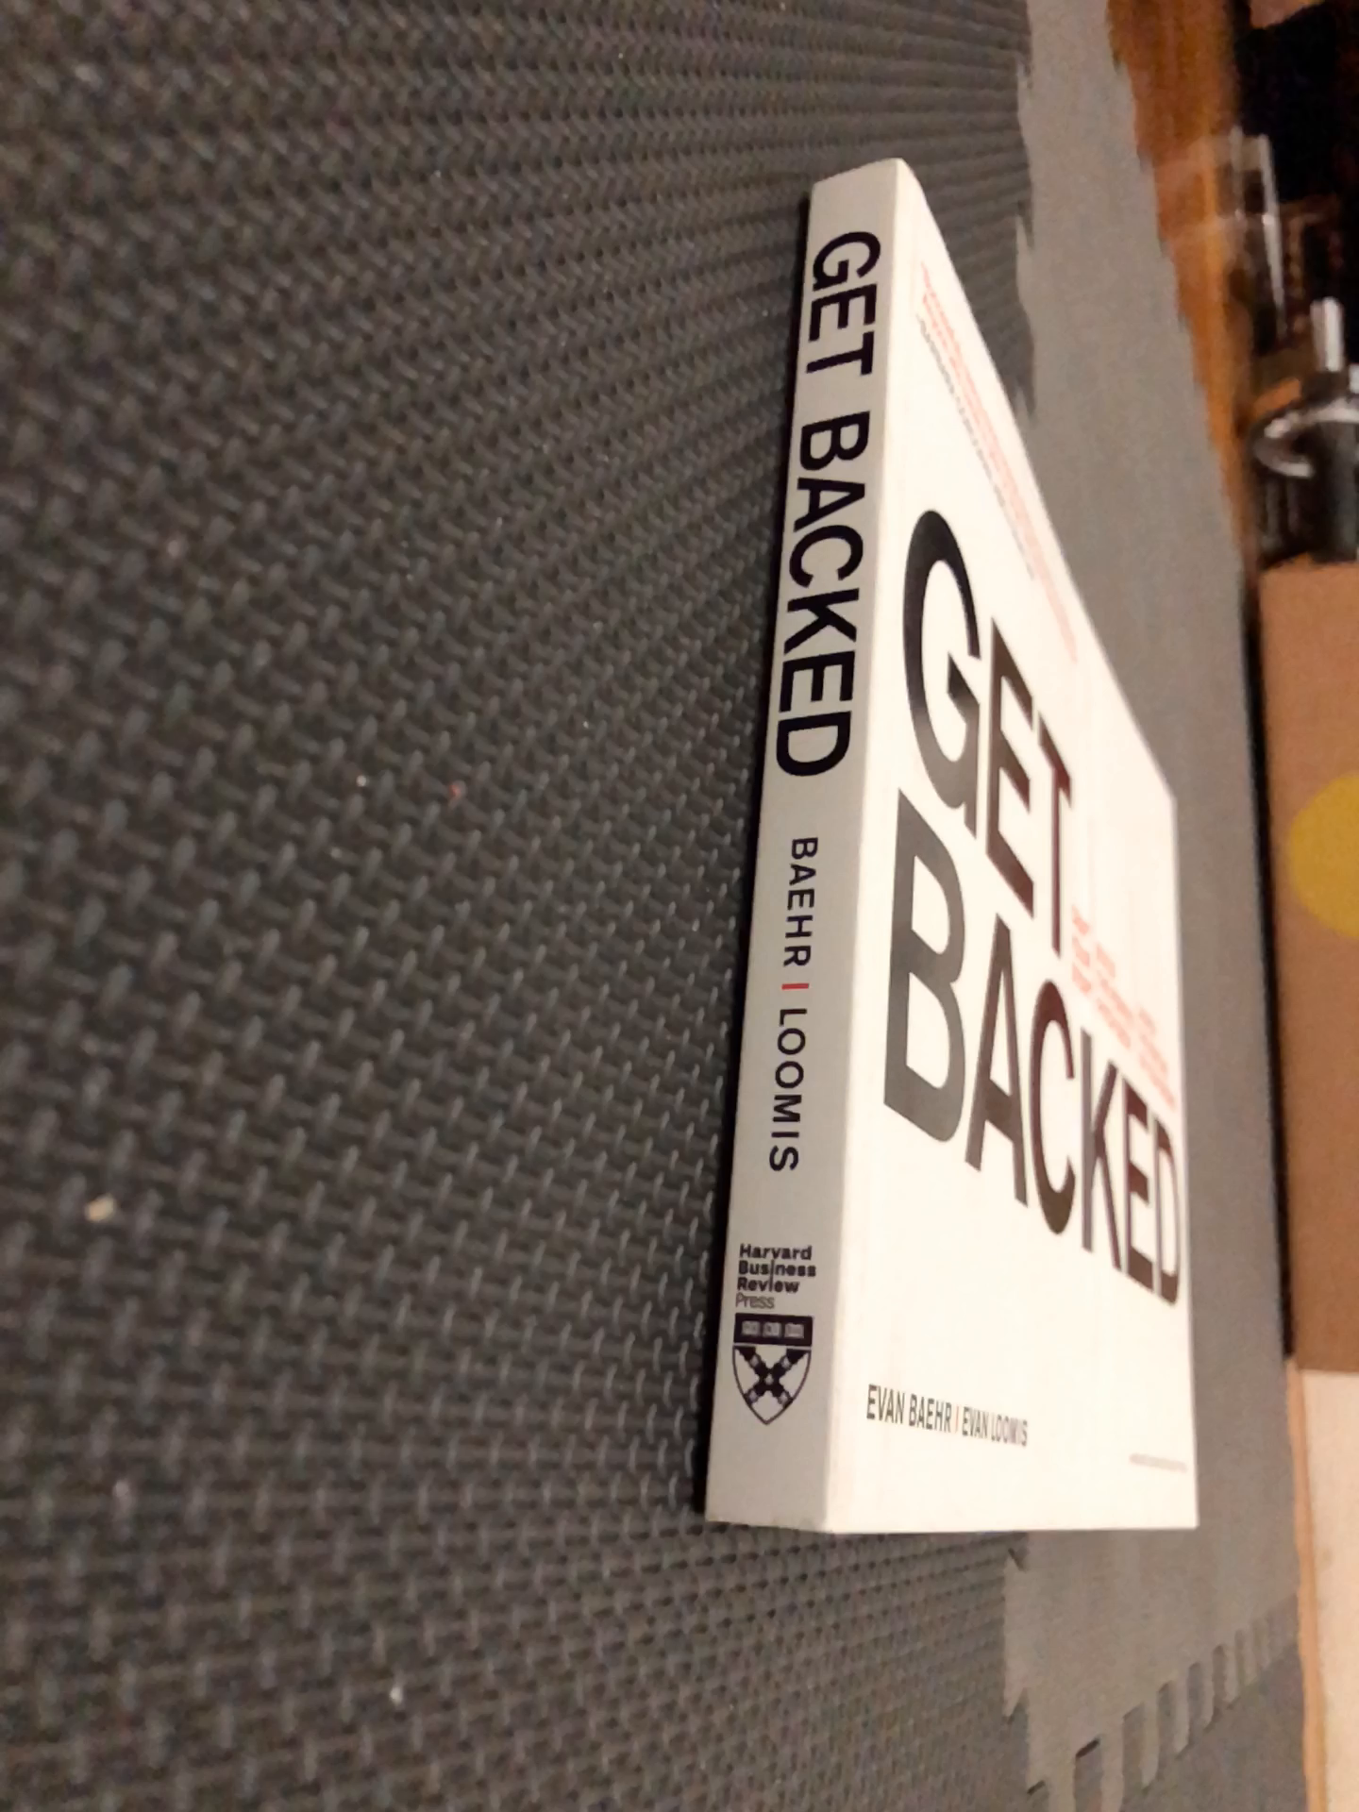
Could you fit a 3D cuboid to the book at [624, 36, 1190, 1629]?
[{"bbox_3d":[0.069,0.017,0.299,0.261,0.020,0.210,39,52,-57],"label":"book"}]
